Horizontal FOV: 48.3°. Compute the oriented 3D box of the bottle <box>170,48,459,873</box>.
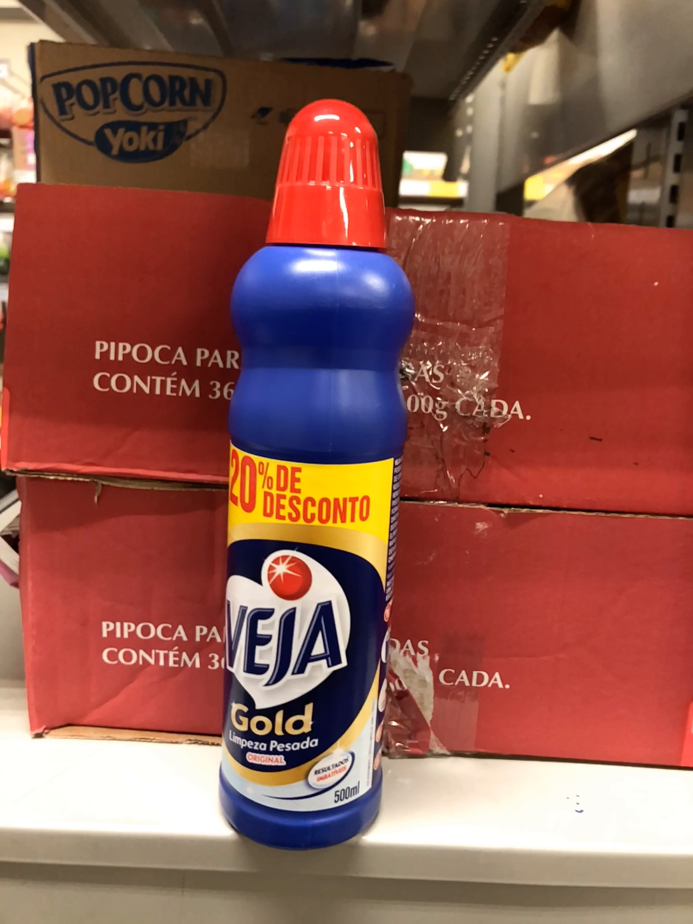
[{"bbox_3d":[-0.007,0.003,0.271,0.070,0.249,0.070,1,13,0],"label":"bottle"}]
